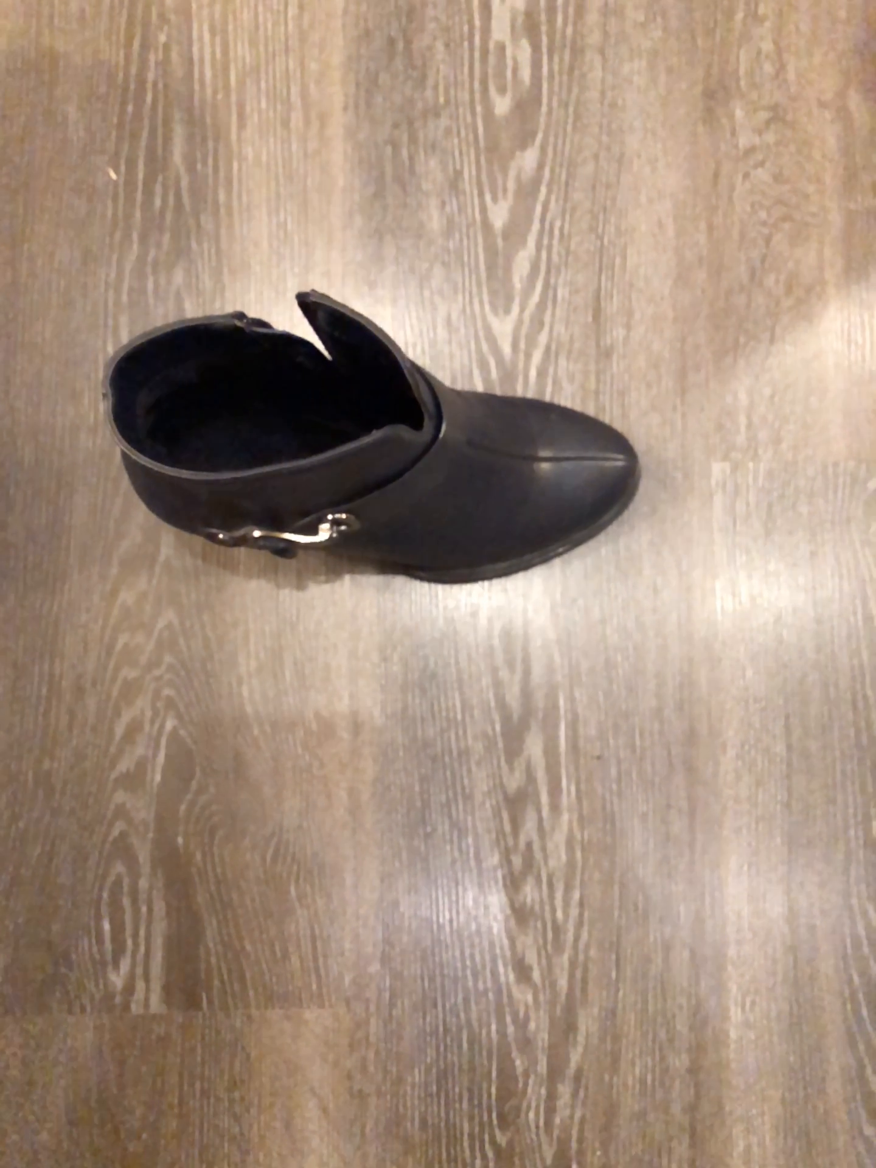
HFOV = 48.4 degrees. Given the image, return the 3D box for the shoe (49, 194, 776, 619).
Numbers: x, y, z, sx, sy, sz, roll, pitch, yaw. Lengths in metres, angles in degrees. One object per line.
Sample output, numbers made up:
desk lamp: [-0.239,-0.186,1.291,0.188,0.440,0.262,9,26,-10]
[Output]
shoe: [-0.008,-0.055,0.401,0.220,0.180,0.100,8,86,0]
